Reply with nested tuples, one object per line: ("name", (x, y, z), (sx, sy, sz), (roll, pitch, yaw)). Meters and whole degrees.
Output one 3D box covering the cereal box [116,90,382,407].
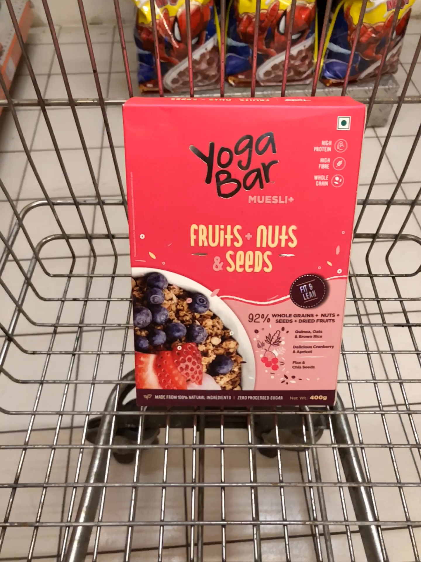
("cereal box", (0.024, -0.020, 0.371), (0.170, 0.239, 0.060), (1, 21, 0))
